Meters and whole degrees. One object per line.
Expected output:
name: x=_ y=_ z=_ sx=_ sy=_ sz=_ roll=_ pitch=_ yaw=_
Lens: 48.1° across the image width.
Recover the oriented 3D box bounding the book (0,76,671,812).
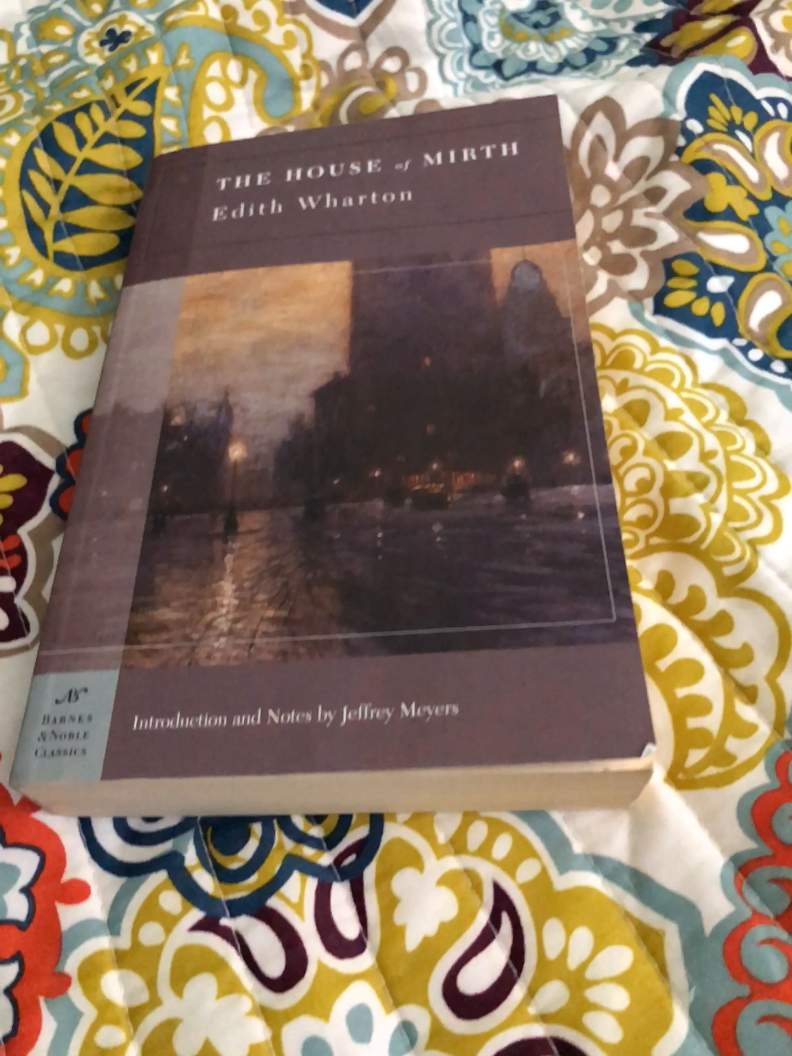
book: x=-0.014 y=-0.029 z=0.238 sx=0.141 sy=0.040 sz=0.196 roll=-3 pitch=63 yaw=9
